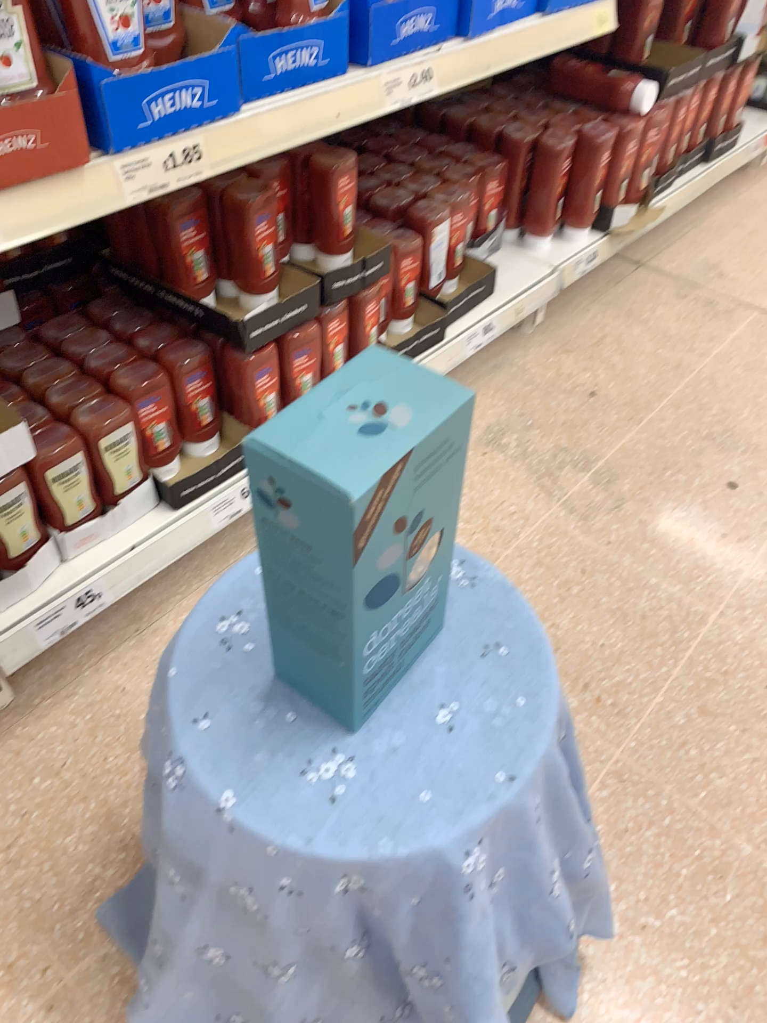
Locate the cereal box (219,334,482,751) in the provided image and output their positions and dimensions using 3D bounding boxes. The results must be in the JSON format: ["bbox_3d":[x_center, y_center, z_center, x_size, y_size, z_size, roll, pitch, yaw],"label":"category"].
[{"bbox_3d":[-0.018,0.028,0.511,0.090,0.238,0.121,27,50,23],"label":"cereal box"}]
